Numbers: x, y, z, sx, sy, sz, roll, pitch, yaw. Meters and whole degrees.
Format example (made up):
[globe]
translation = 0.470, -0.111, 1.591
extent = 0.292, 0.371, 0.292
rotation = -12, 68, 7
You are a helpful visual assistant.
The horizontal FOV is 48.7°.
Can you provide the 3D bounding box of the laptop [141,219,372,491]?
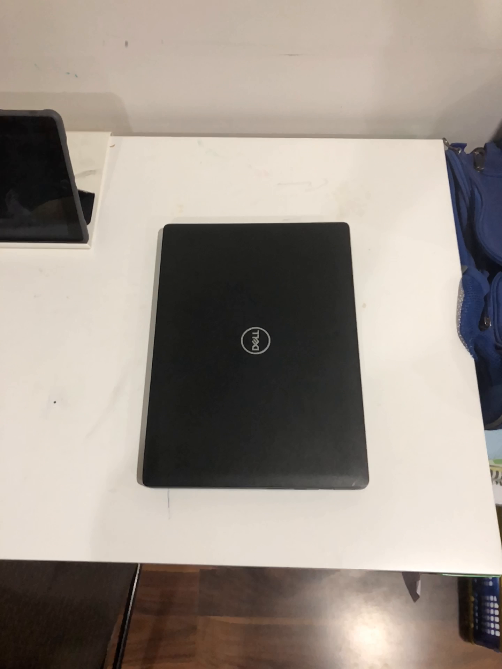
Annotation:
[laptop]
translation = 0.005, 0.009, 0.648
extent = 0.241, 0.010, 0.333
rotation = -1, 67, 4
